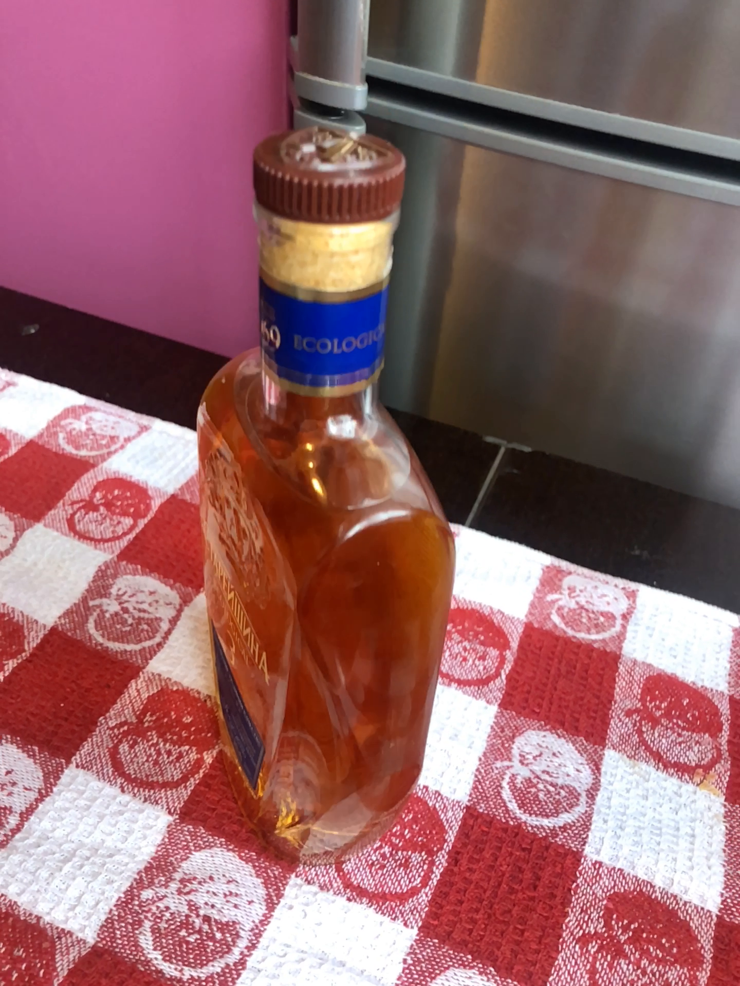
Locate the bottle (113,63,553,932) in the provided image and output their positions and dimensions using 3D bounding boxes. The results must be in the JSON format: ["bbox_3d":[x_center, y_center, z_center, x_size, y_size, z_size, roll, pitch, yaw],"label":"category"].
[{"bbox_3d":[-0.023,0.016,0.230,0.050,0.219,0.111,-12,45,-18],"label":"bottle"}]
